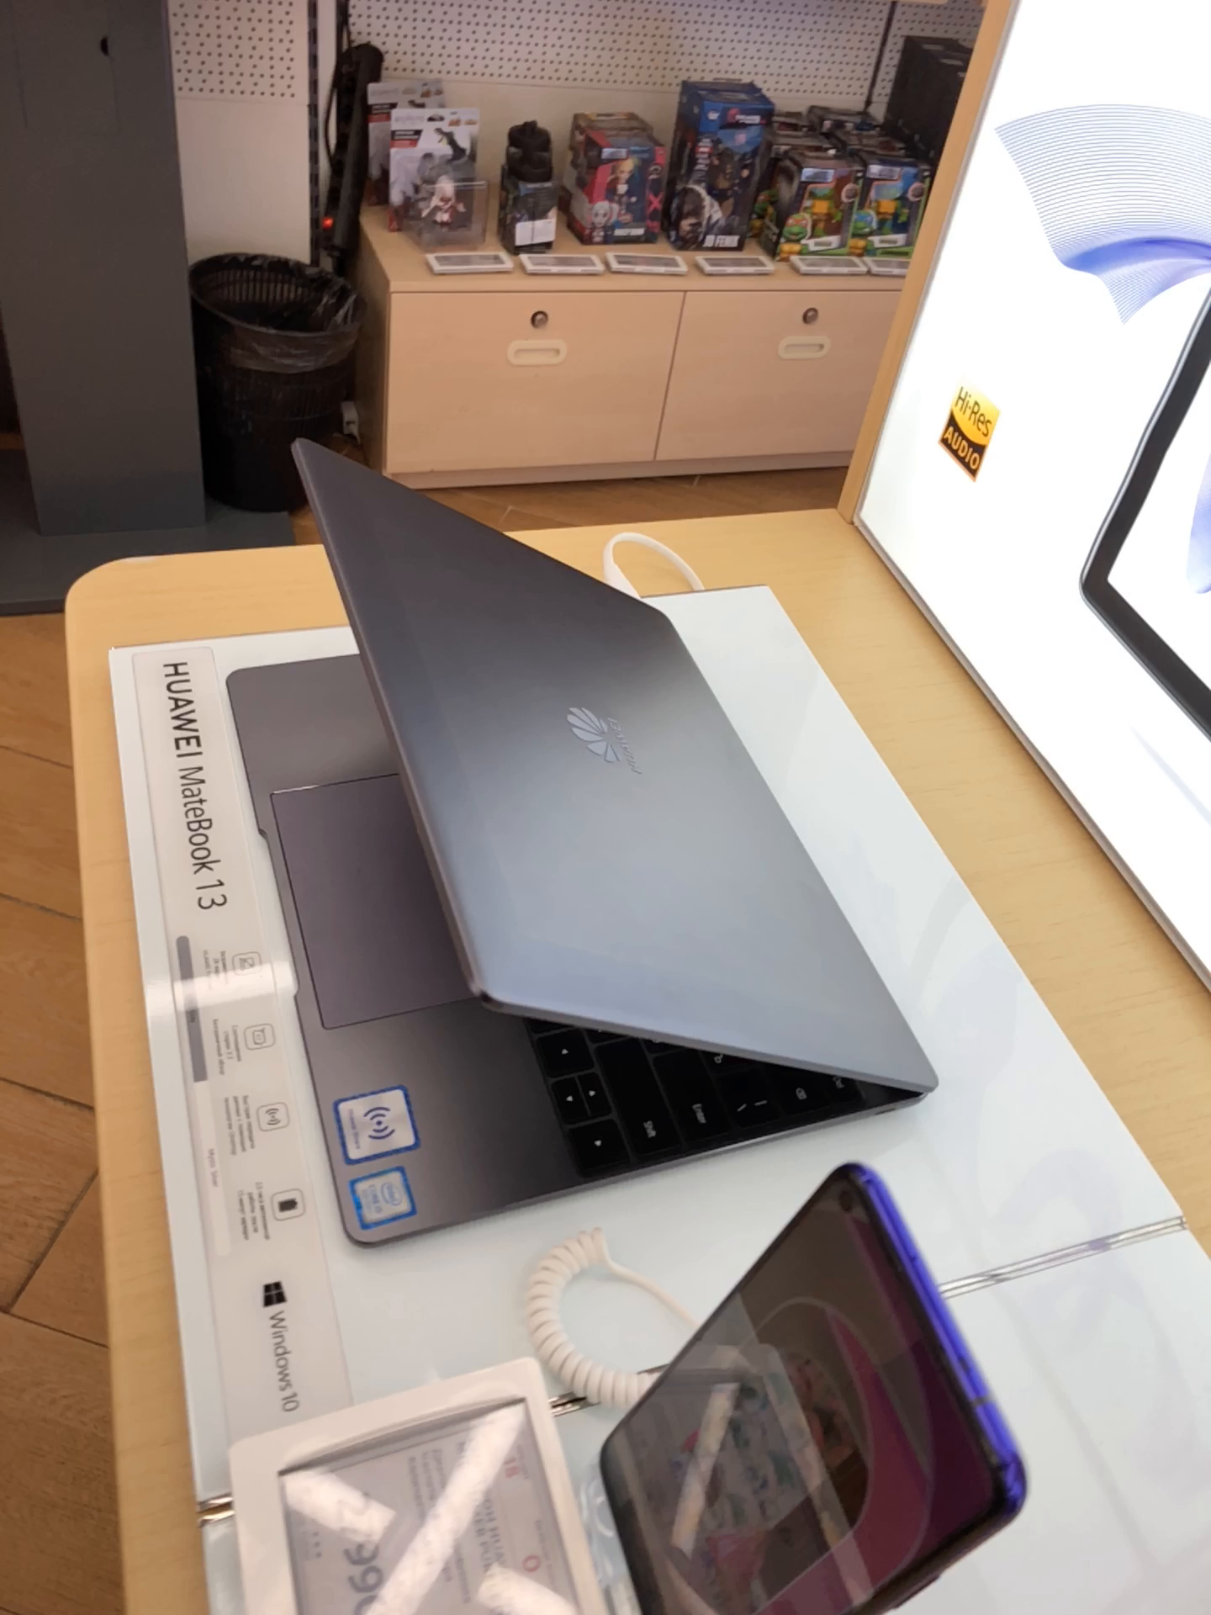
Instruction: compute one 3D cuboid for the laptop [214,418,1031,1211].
[{"bbox_3d":[-0.018,-0.021,0.499,0.204,0.106,0.272,-10,48,-19],"label":"laptop"}]
